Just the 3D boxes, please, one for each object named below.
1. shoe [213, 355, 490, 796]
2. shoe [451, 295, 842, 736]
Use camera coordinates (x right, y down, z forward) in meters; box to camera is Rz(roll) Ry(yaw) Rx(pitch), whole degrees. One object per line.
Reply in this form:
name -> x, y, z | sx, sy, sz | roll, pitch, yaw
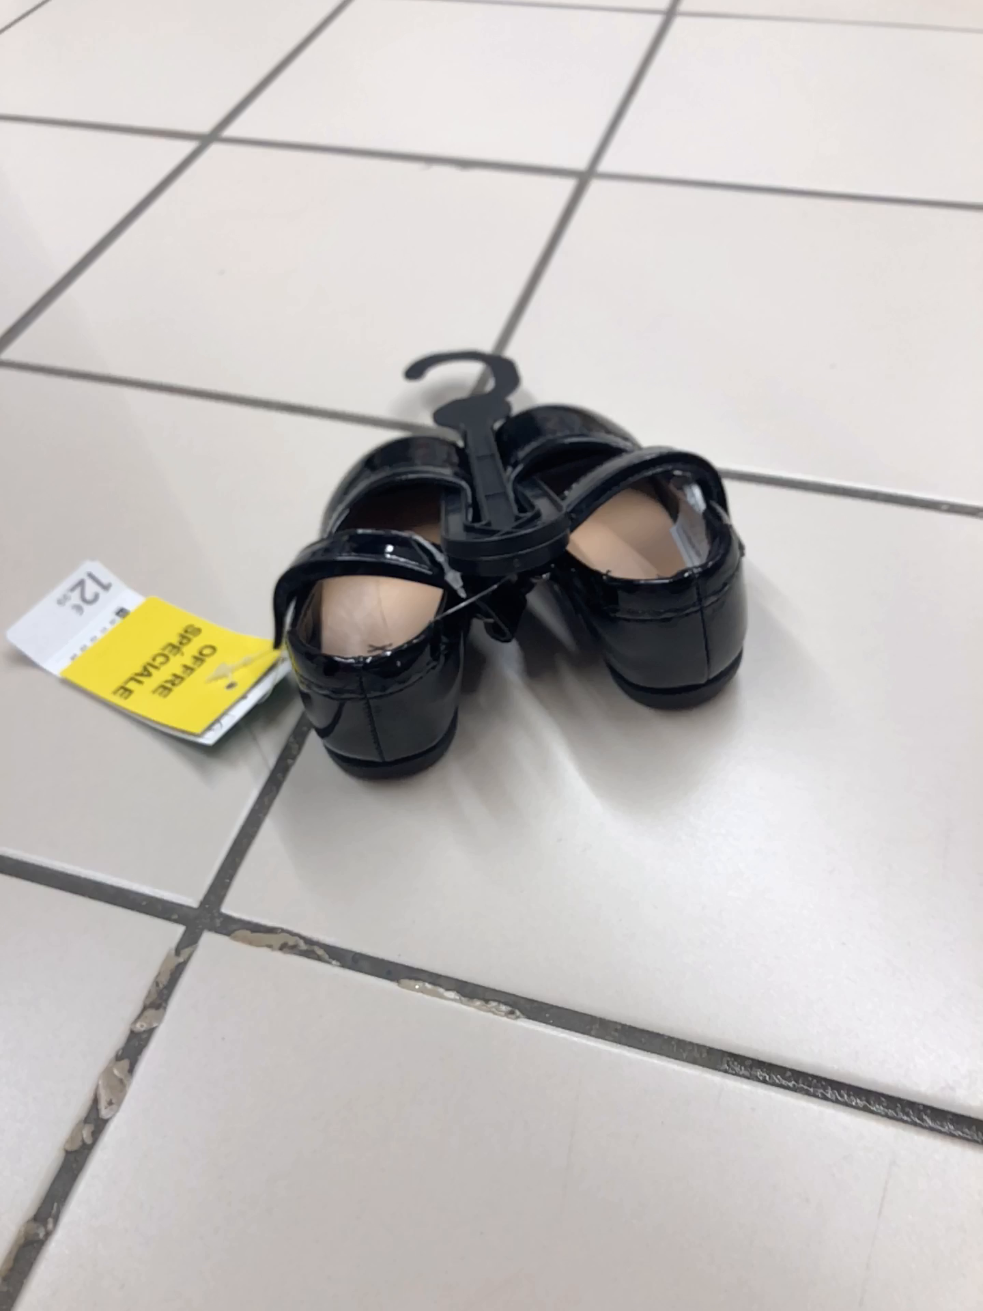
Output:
shoe -> -0.033, -0.028, 0.317 | 0.059, 0.048, 0.130 | -1, 49, 3
shoe -> 0.038, -0.047, 0.324 | 0.059, 0.048, 0.127 | -17, 50, -11
